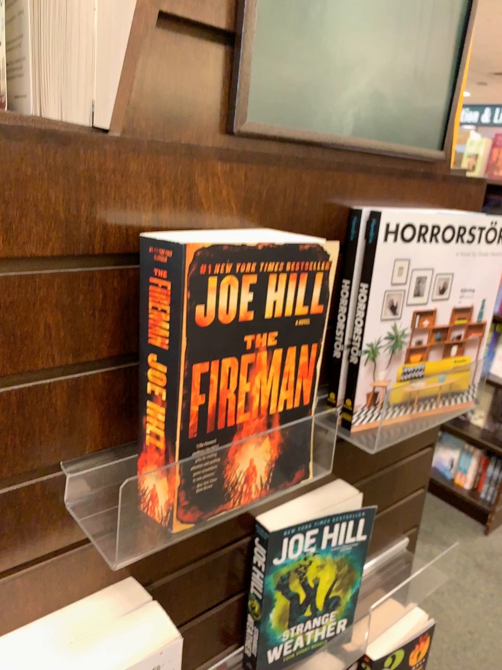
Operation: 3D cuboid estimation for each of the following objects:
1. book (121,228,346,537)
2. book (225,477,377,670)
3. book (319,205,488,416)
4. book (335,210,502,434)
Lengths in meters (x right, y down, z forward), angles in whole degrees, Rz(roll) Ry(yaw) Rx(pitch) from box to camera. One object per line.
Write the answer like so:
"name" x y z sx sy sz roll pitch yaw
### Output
"book" -0.013 0.022 0.393 0.147 0.194 0.069 -10 20 -39
"book" 0.059 0.293 0.628 0.159 0.201 0.062 -5 17 -30
"book" 0.167 -0.029 0.564 0.188 0.208 0.026 -5 17 -30
"book" 0.178 -0.017 0.532 0.188 0.208 0.026 -5 17 -30
